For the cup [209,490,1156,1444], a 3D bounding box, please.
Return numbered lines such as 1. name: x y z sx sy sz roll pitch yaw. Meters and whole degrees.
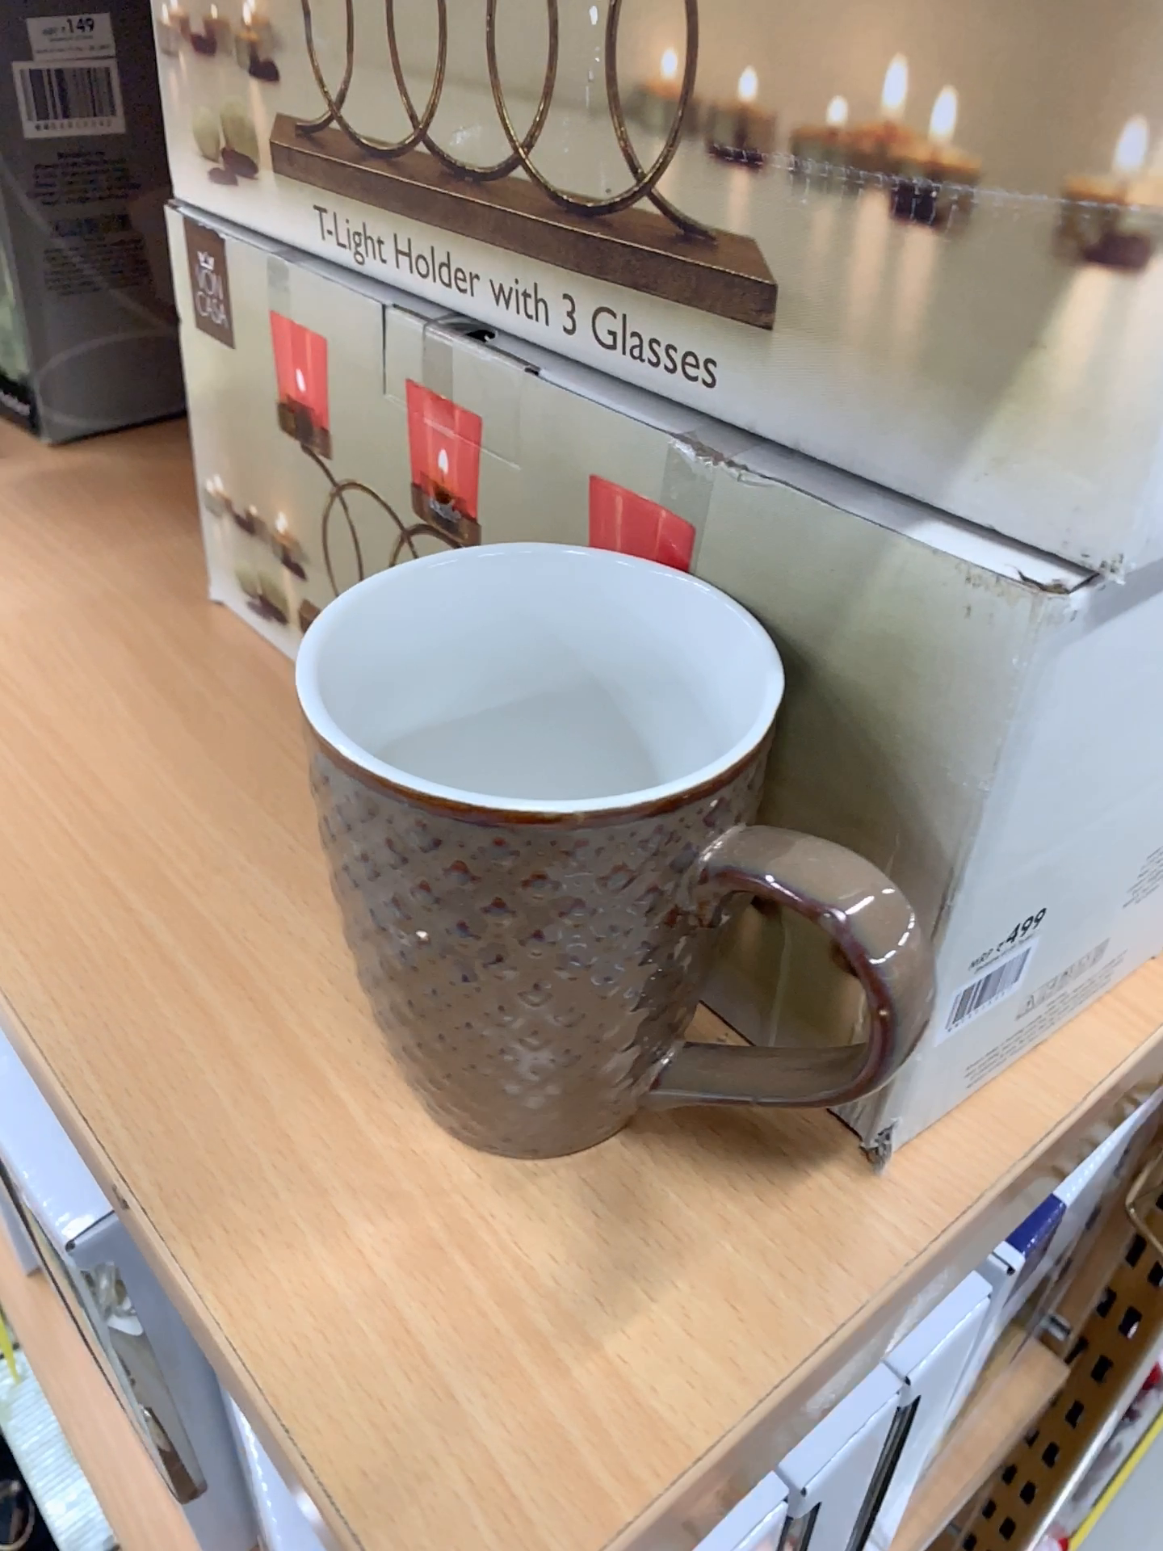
1. cup: 0.009 0.021 0.225 0.090 0.090 0.130 -26 47 -38
